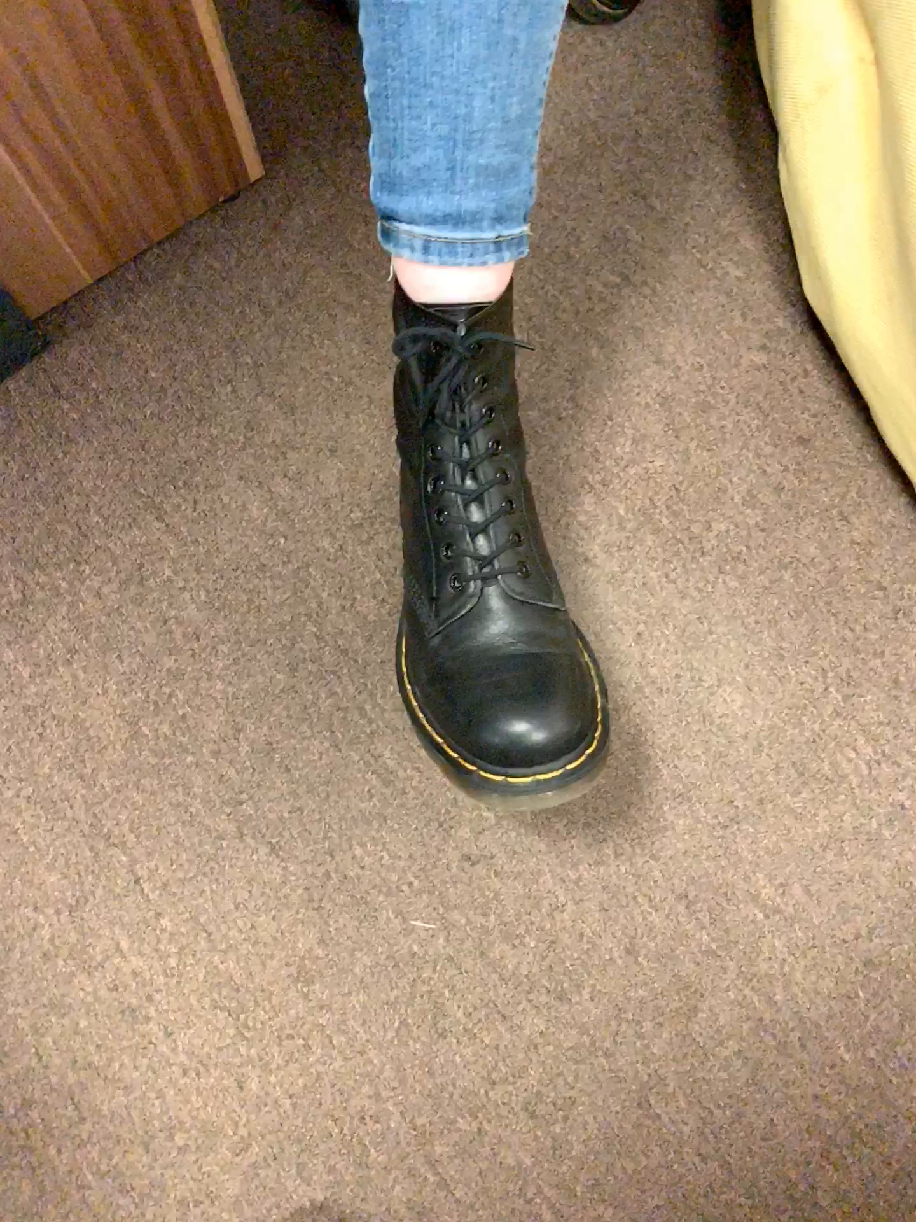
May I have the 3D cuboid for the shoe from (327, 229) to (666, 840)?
[{"bbox_3d":[0.005,-0.055,0.490,0.120,0.150,0.290,-7,48,-1],"label":"shoe"}]
